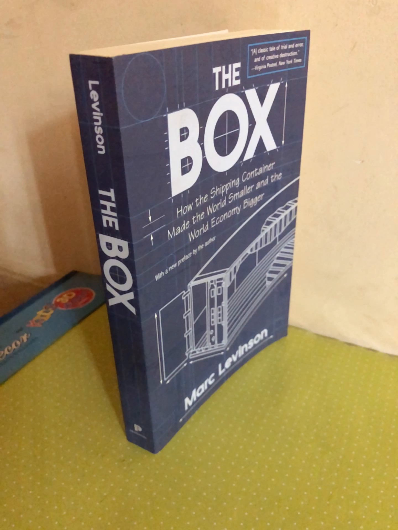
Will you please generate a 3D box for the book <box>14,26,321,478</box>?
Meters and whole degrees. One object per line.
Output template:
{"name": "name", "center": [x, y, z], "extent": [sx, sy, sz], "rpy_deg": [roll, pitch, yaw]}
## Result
{"name": "book", "center": [0.004, -0.020, 0.274], "extent": [0.050, 0.219, 0.181], "rpy_deg": [18, 34, 31]}
